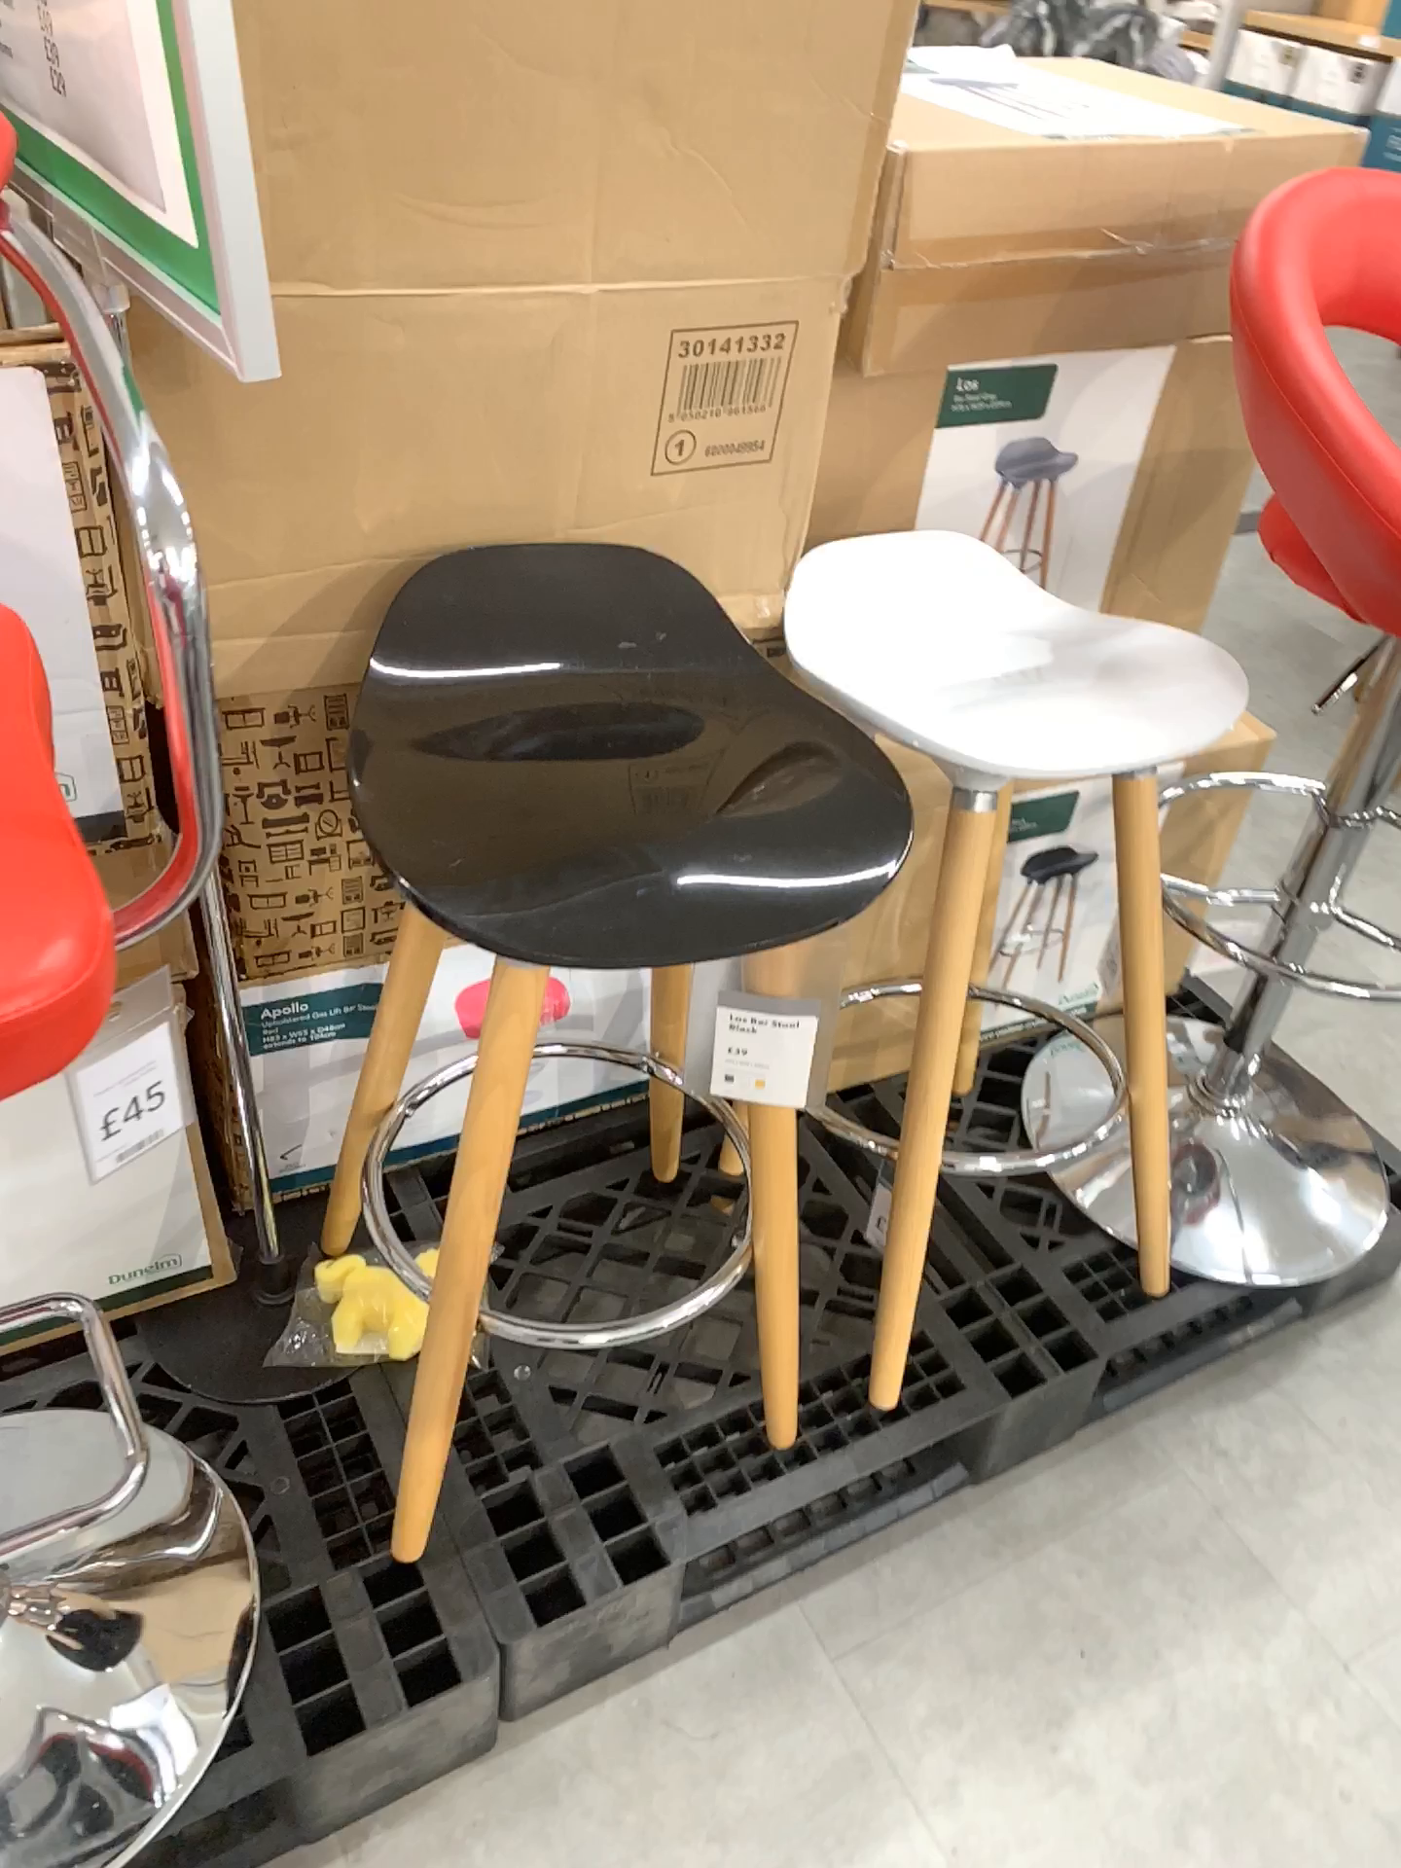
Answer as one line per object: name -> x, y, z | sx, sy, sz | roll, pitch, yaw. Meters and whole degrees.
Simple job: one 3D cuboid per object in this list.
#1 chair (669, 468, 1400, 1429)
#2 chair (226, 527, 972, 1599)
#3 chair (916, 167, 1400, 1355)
chair -> 0.263, 0.013, 1.327 | 0.385, 0.721, 0.419 | -14, 42, -25
chair -> -0.120, 0.109, 1.151 | 0.384, 0.721, 0.399 | -10, 40, -20
chair -> 0.629, -0.154, 1.395 | 0.475, 0.979, 0.480 | -14, 42, -25
